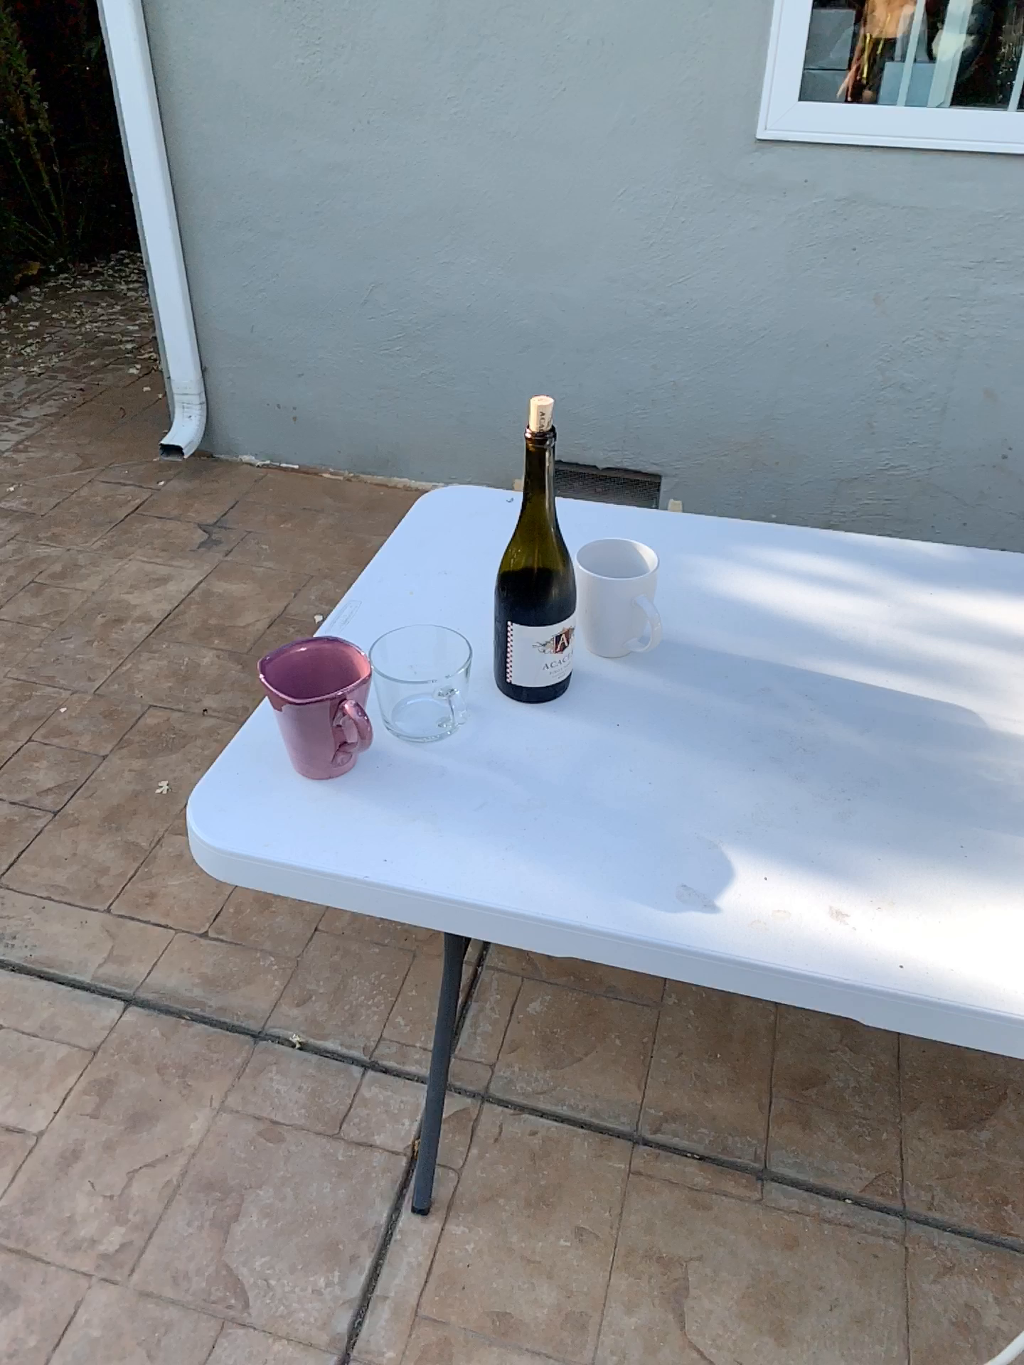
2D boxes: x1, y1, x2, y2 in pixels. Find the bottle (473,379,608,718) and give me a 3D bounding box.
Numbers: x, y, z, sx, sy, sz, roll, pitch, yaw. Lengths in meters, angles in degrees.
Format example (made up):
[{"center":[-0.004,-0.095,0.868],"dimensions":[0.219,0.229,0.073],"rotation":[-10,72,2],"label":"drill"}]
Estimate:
[{"center":[0.023,-0.125,1.023],"dimensions":[0.090,0.308,0.080],"rotation":[26,42,31],"label":"bottle"}]
